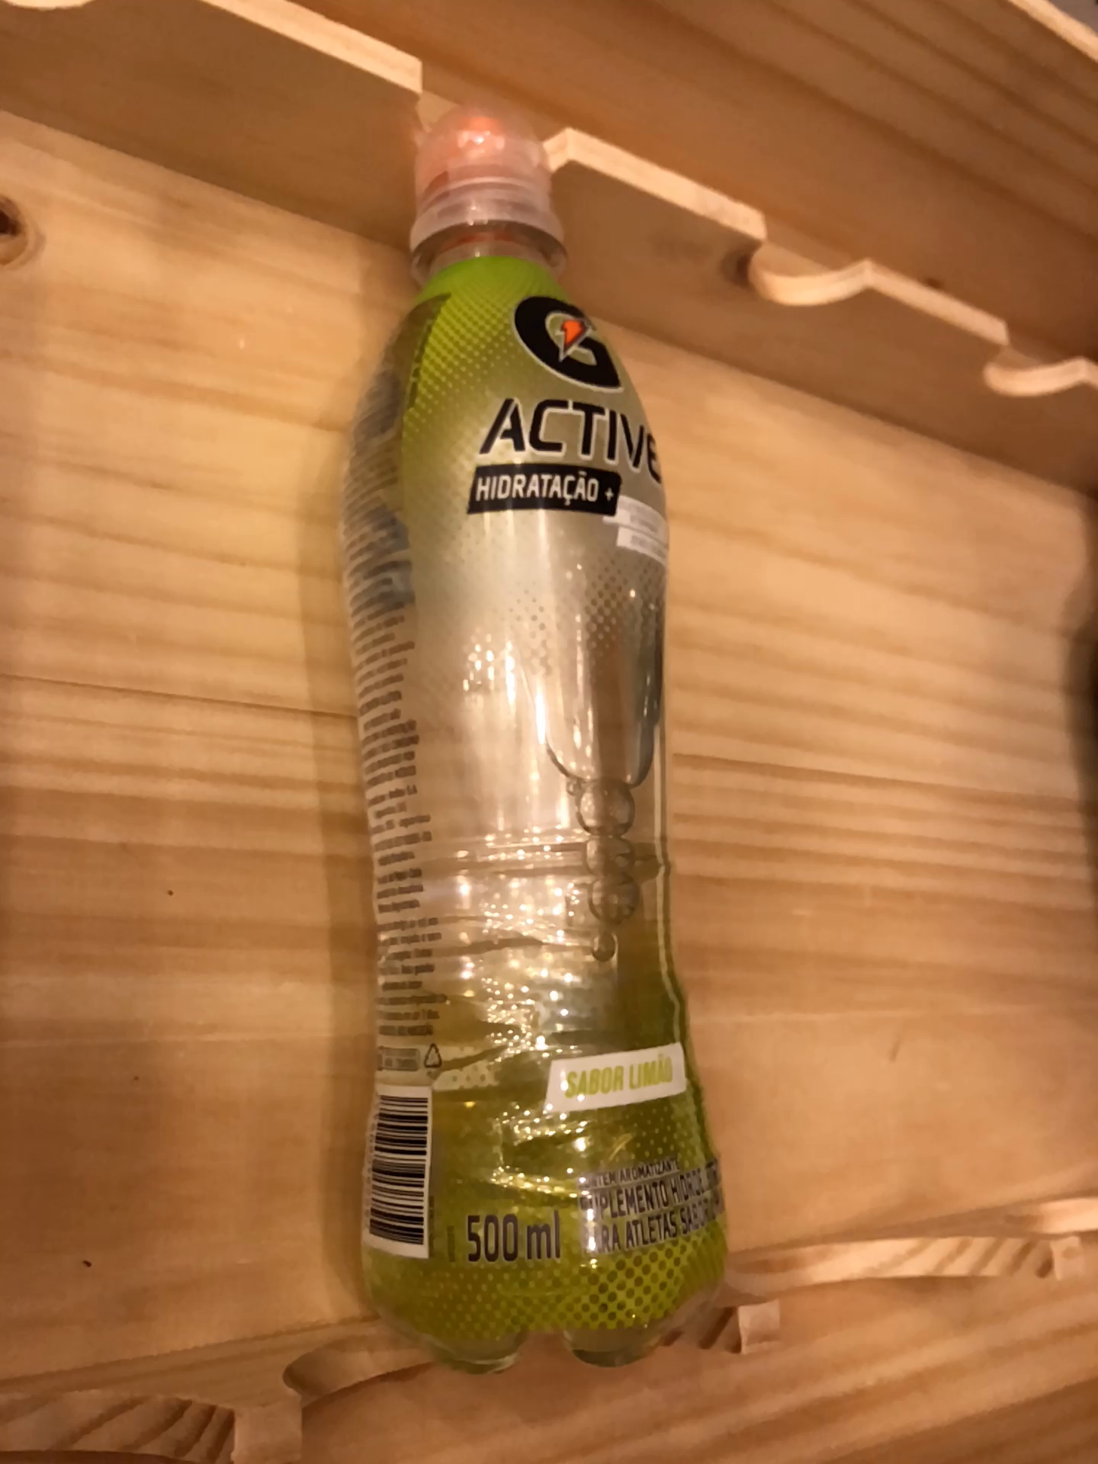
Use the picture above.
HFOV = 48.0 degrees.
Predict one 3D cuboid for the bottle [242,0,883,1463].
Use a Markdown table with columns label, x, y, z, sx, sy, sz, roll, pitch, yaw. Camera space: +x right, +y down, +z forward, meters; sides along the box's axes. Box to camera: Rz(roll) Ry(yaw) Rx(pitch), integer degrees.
| label | x | y | z | sx | sy | sz | roll | pitch | yaw |
| --- | --- | --- | --- | --- | --- | --- | --- | --- | --- |
| bottle | -0.008 | -0.022 | 0.238 | 0.070 | 0.070 | 0.270 | 4 | 73 | -35 |
